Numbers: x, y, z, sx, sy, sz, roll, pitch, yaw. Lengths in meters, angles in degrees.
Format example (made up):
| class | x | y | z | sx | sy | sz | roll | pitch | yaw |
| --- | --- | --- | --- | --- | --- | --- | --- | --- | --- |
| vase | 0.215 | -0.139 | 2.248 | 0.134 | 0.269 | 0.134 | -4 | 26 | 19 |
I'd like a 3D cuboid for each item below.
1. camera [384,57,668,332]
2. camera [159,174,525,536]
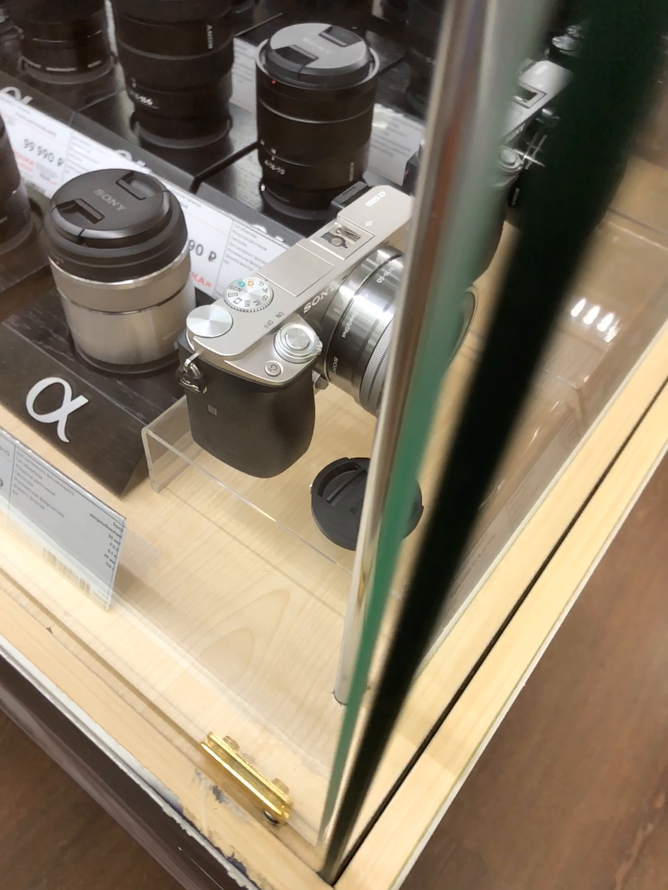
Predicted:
| class | x | y | z | sx | sy | sz | roll | pitch | yaw |
| --- | --- | --- | --- | --- | --- | --- | --- | --- | --- |
| camera | 0.097 | -0.131 | 0.377 | 0.076 | 0.061 | 0.128 | 34 | 58 | 20 |
| camera | 0.006 | -0.041 | 0.300 | 0.076 | 0.061 | 0.124 | 34 | 58 | 20 |
